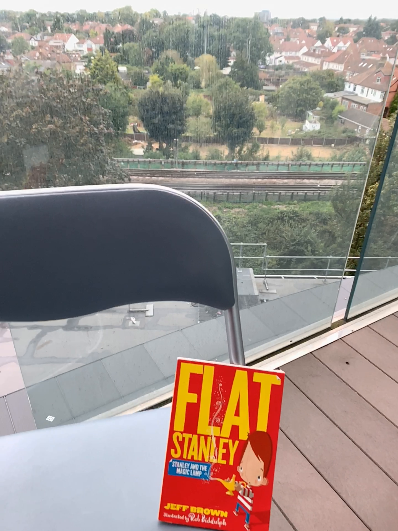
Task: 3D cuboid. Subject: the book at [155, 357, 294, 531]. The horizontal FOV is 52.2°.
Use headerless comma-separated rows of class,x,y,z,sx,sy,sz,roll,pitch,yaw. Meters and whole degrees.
book,0.030,0.214,0.477,0.140,0.190,0.020,6,-4,8
